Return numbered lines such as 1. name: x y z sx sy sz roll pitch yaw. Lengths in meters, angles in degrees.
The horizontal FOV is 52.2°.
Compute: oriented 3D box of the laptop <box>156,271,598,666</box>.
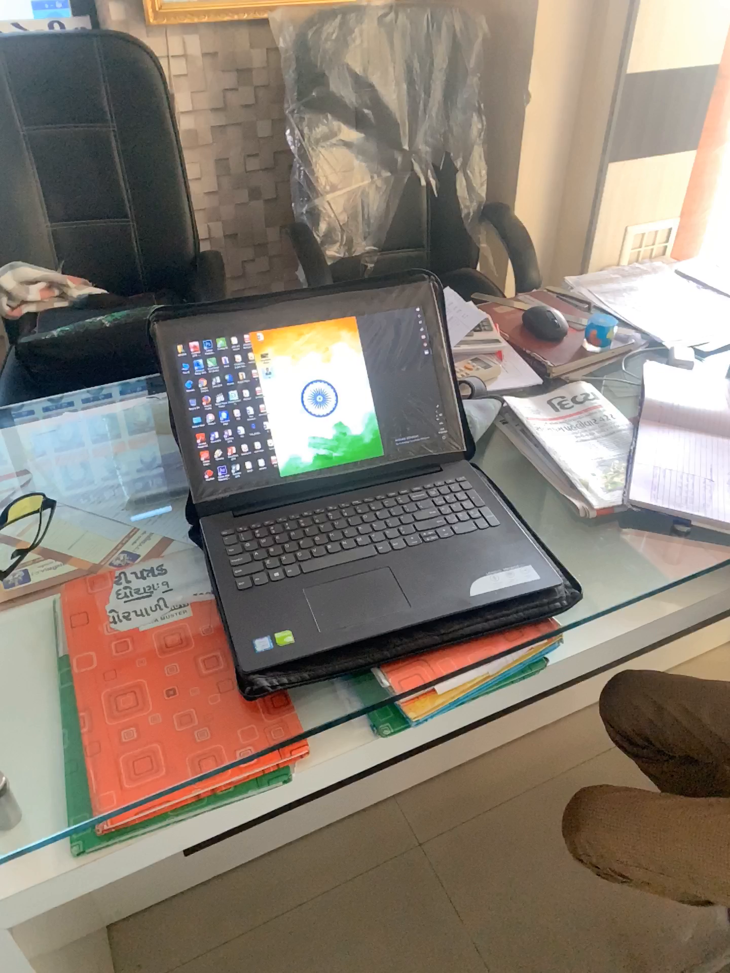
1. laptop: -0.019 -0.054 0.808 0.334 0.175 0.392 -12 40 -14
